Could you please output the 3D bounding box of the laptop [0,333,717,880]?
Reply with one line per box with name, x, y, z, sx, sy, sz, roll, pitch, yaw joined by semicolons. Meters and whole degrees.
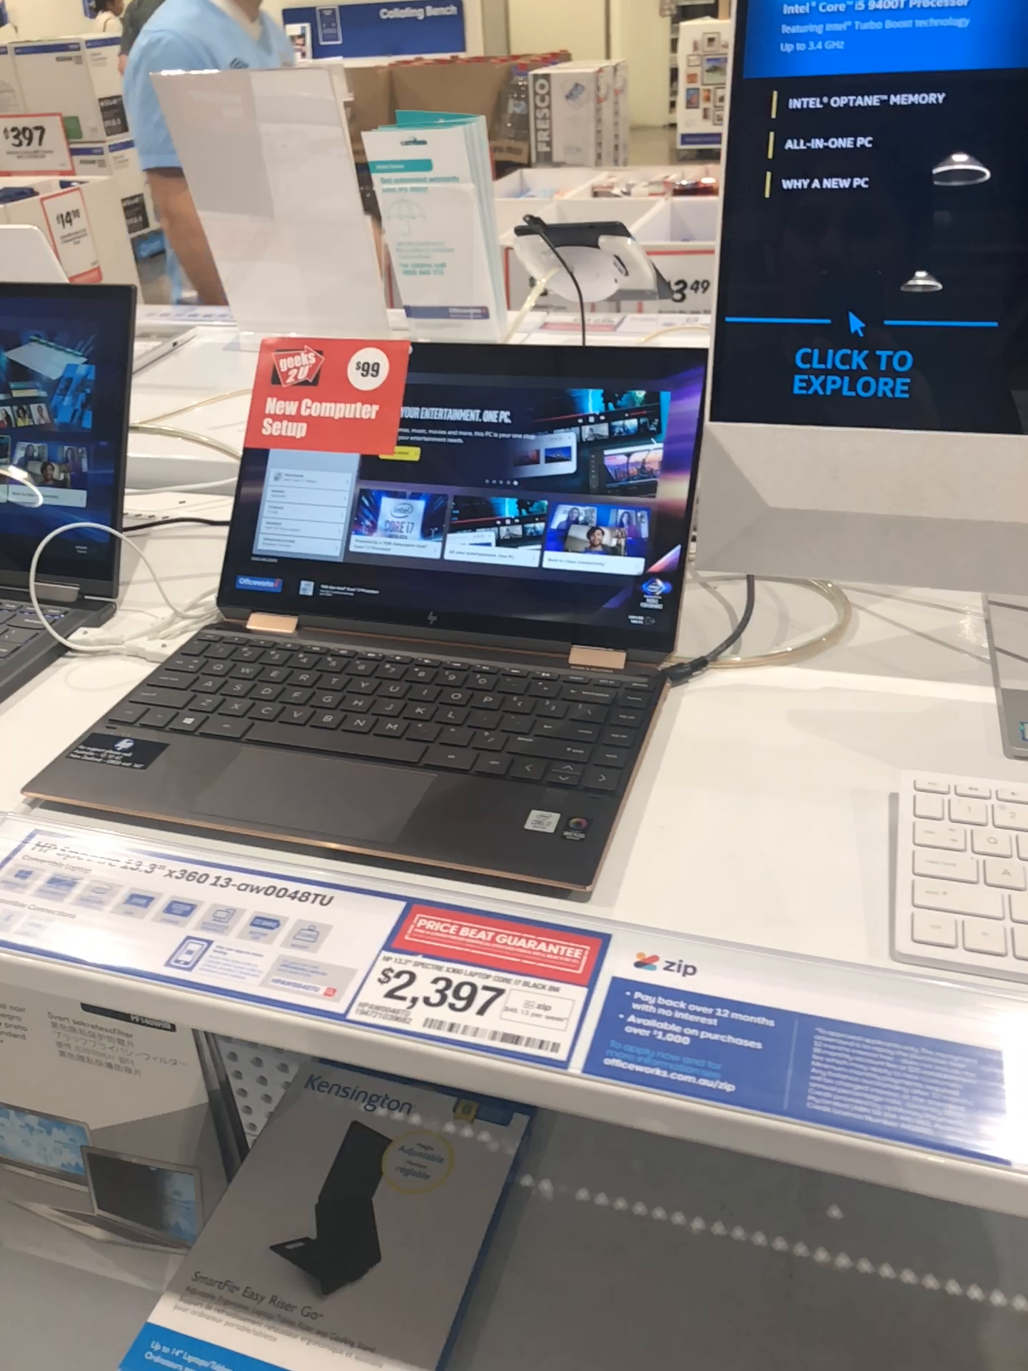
laptop;-0.066;-0.076;0.625;0.298;0.147;0.315;6;33;18
